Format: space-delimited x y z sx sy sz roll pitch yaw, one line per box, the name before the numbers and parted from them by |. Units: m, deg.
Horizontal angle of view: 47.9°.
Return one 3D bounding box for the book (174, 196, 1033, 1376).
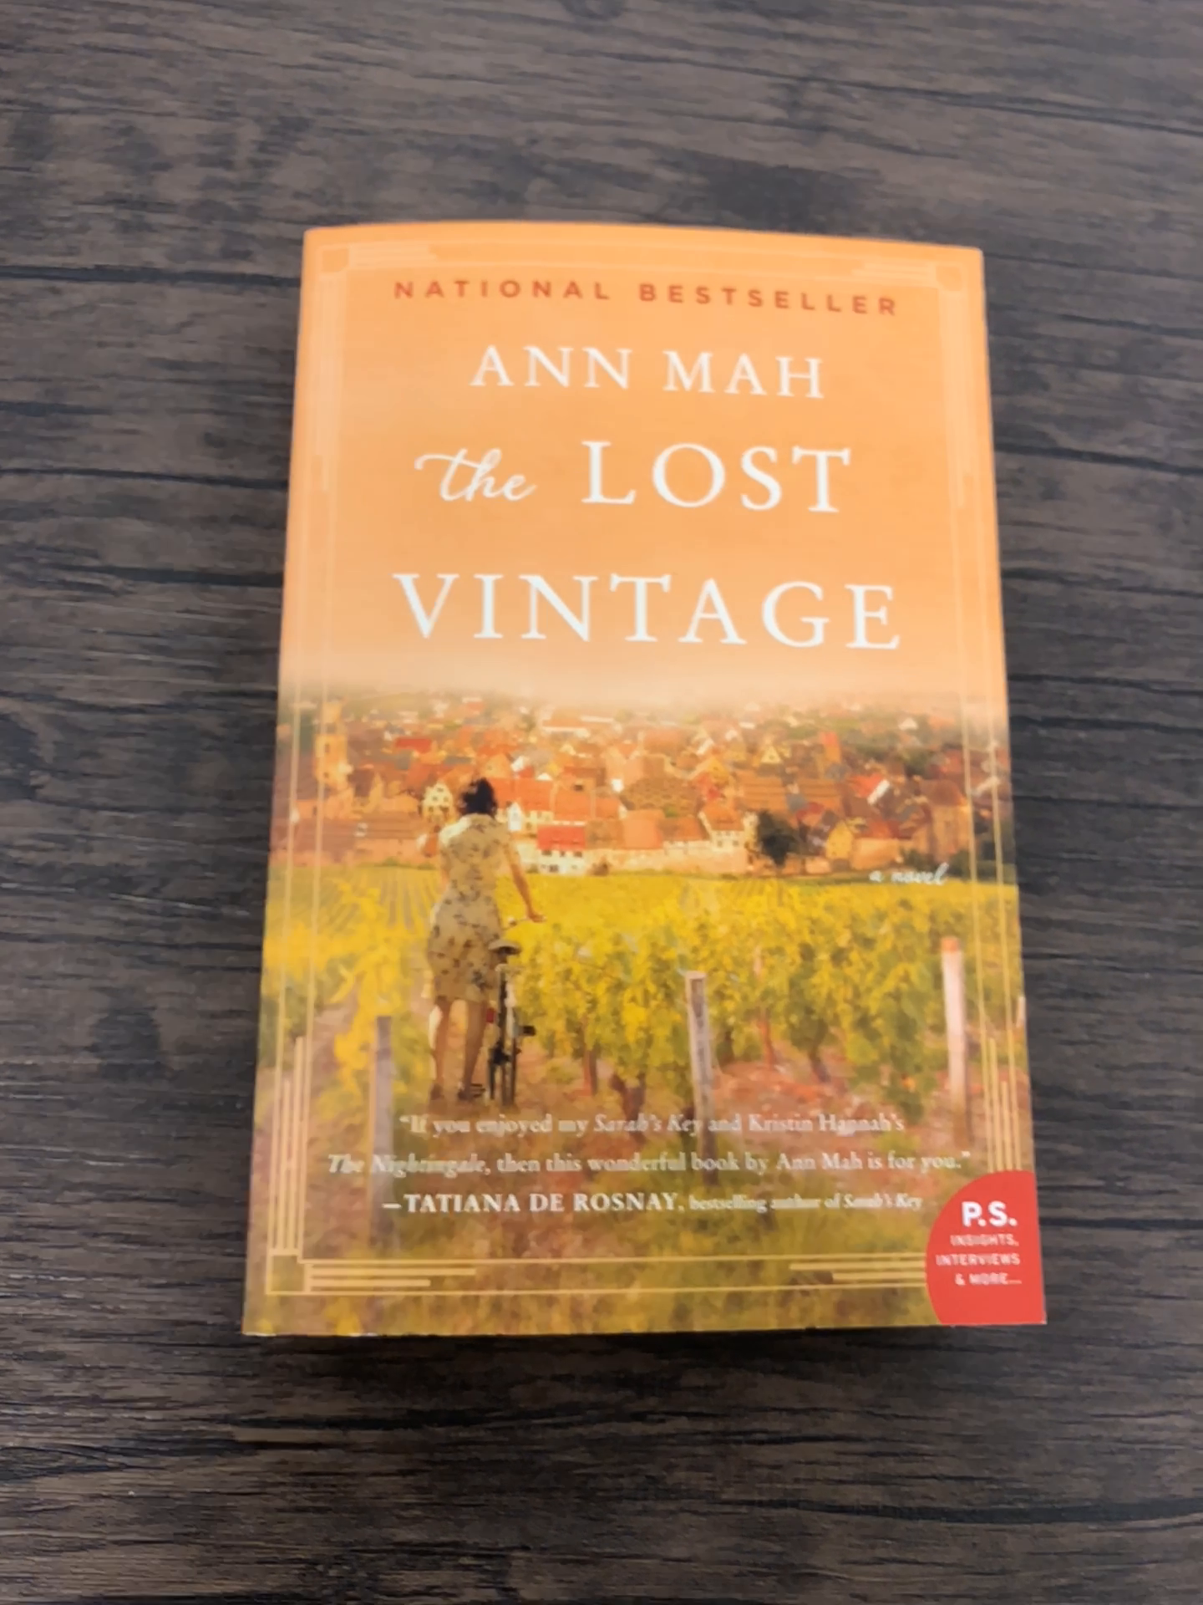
book | 0.001 -0.006 0.250 0.134 0.040 0.200 1 78 -5
